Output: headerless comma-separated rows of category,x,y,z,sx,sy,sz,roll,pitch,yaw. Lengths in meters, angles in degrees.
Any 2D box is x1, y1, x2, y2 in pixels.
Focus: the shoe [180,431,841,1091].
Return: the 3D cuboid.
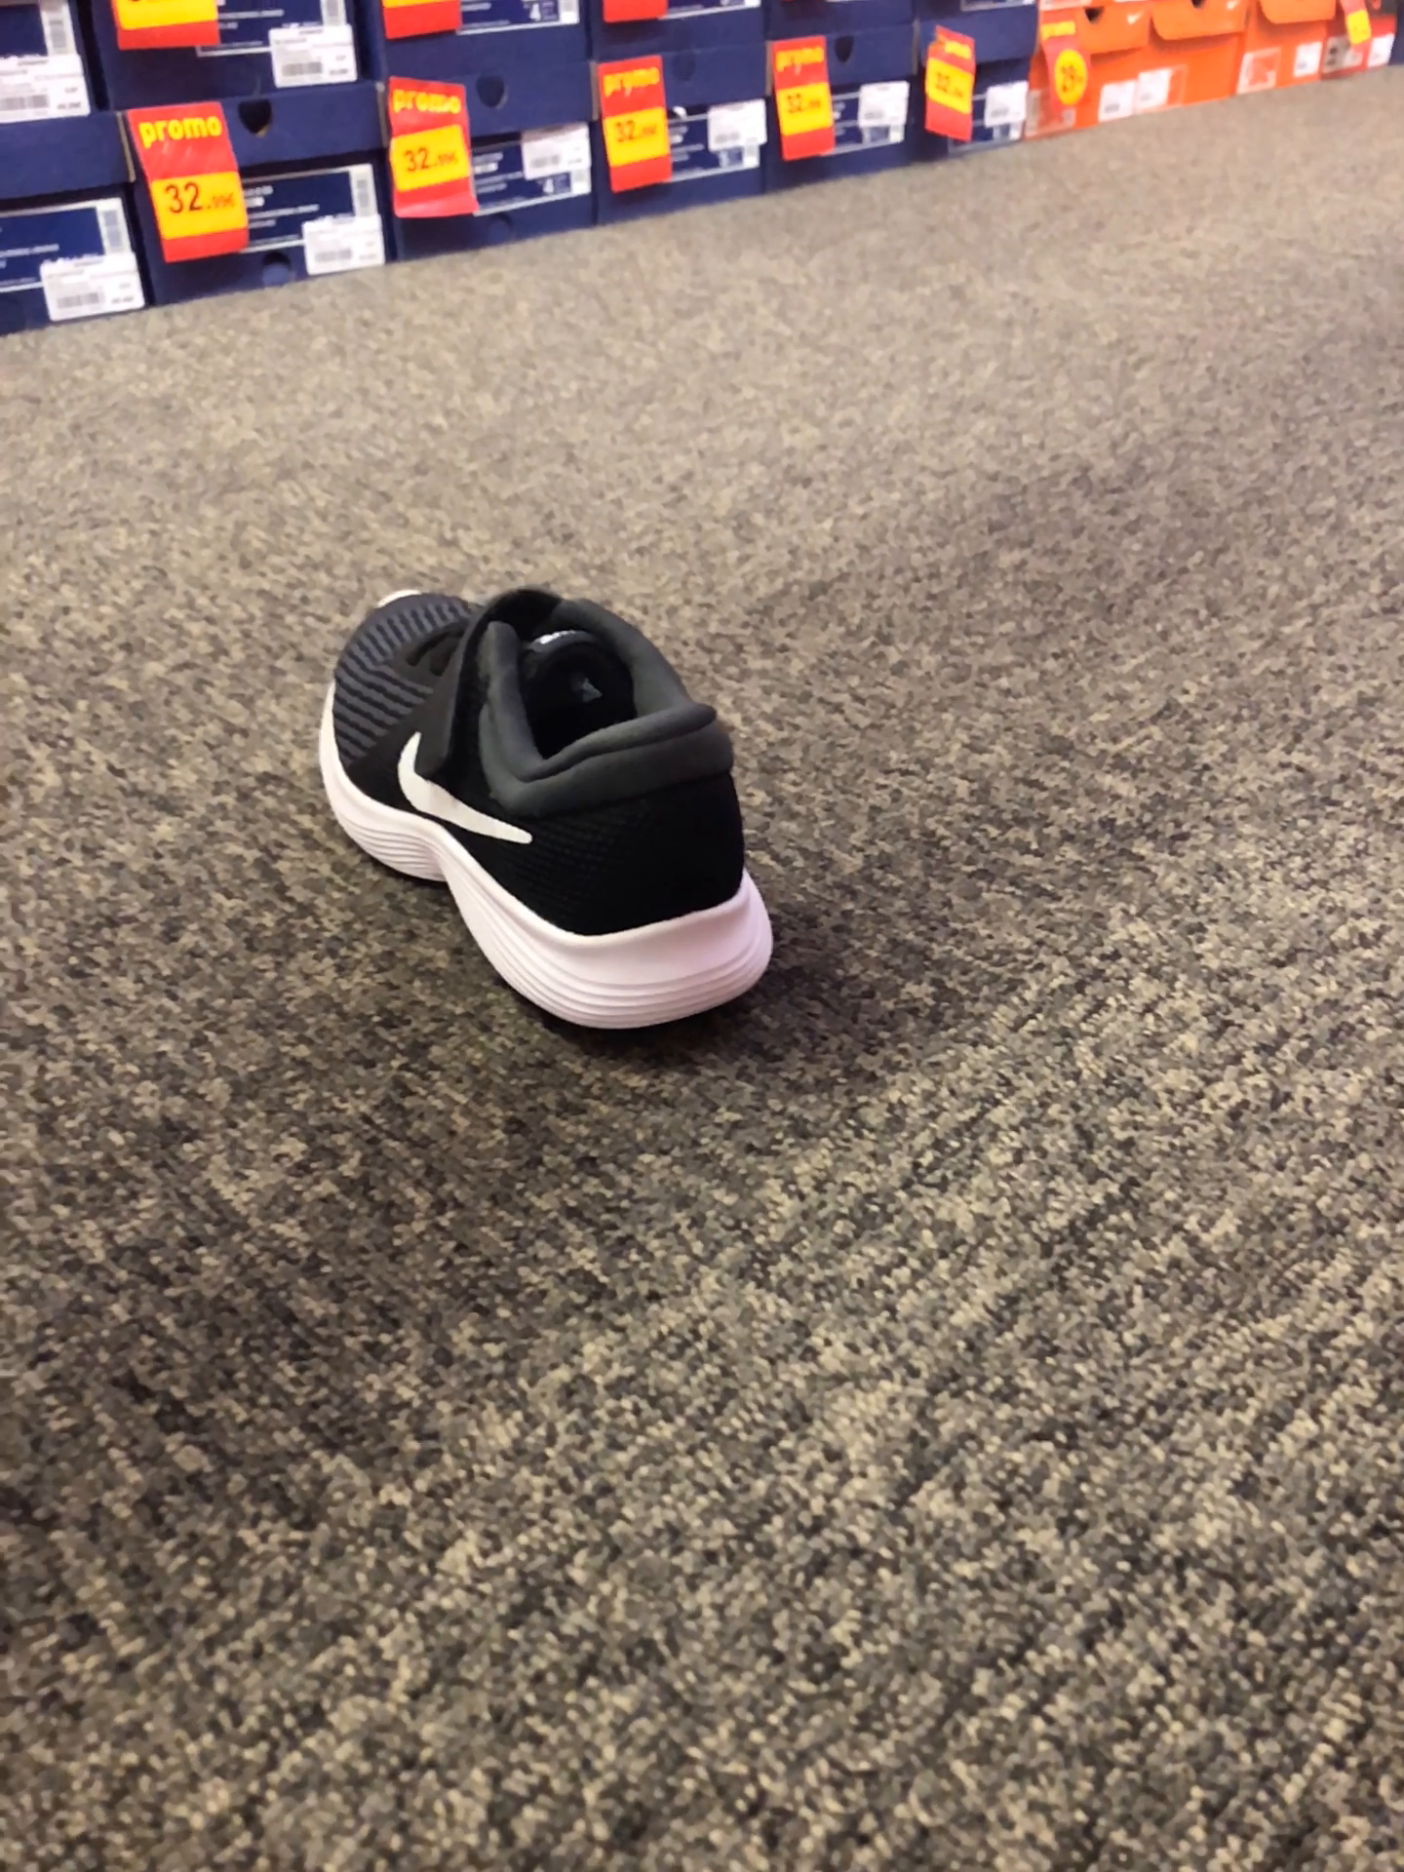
shoe,-0.061,-0.064,0.422,0.090,0.080,0.218,-19,38,-23
